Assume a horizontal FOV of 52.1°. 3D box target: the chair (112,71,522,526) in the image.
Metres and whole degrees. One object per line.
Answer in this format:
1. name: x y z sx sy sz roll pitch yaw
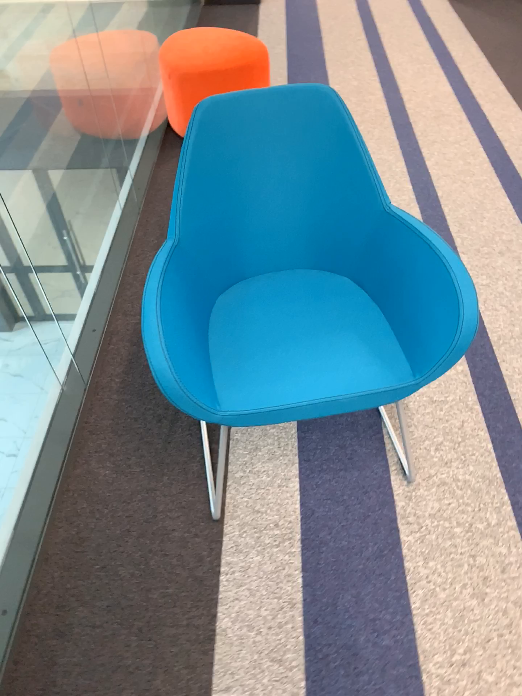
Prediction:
1. chair: 0.074 -0.098 1.343 0.671 0.836 0.653 -8 48 -5

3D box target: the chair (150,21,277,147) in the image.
1. chair: -0.282 -1.554 3.125 0.640 0.396 0.653 -8 48 -5
